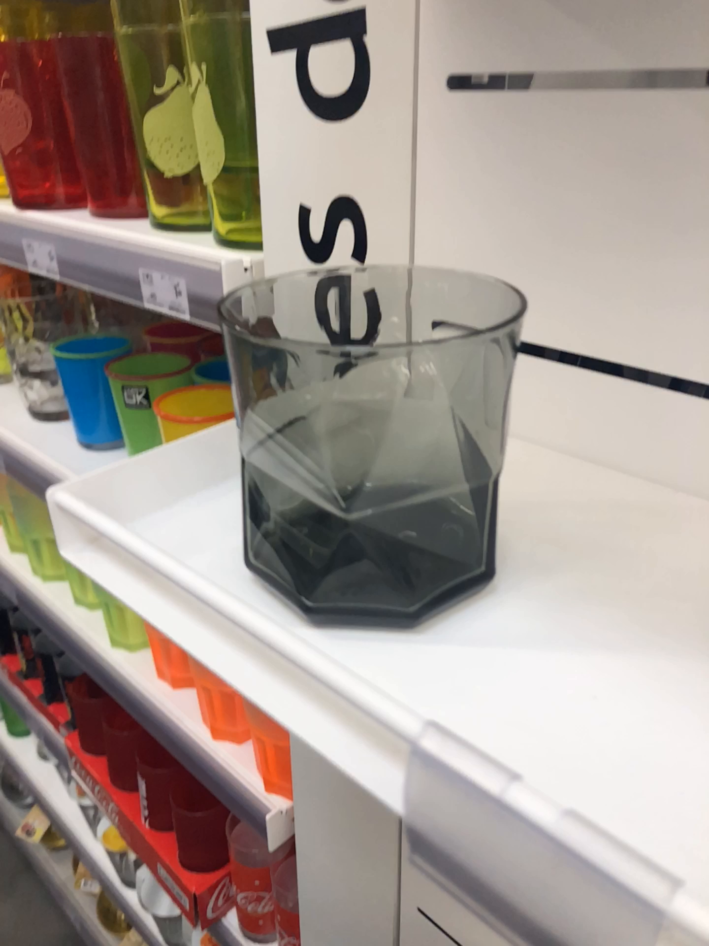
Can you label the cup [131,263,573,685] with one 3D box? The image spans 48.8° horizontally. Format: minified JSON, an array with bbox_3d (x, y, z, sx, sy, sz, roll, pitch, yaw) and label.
[{"bbox_3d":[0.005,-0.009,0.232,0.093,0.080,0.089,0,27,0],"label":"cup"}]
